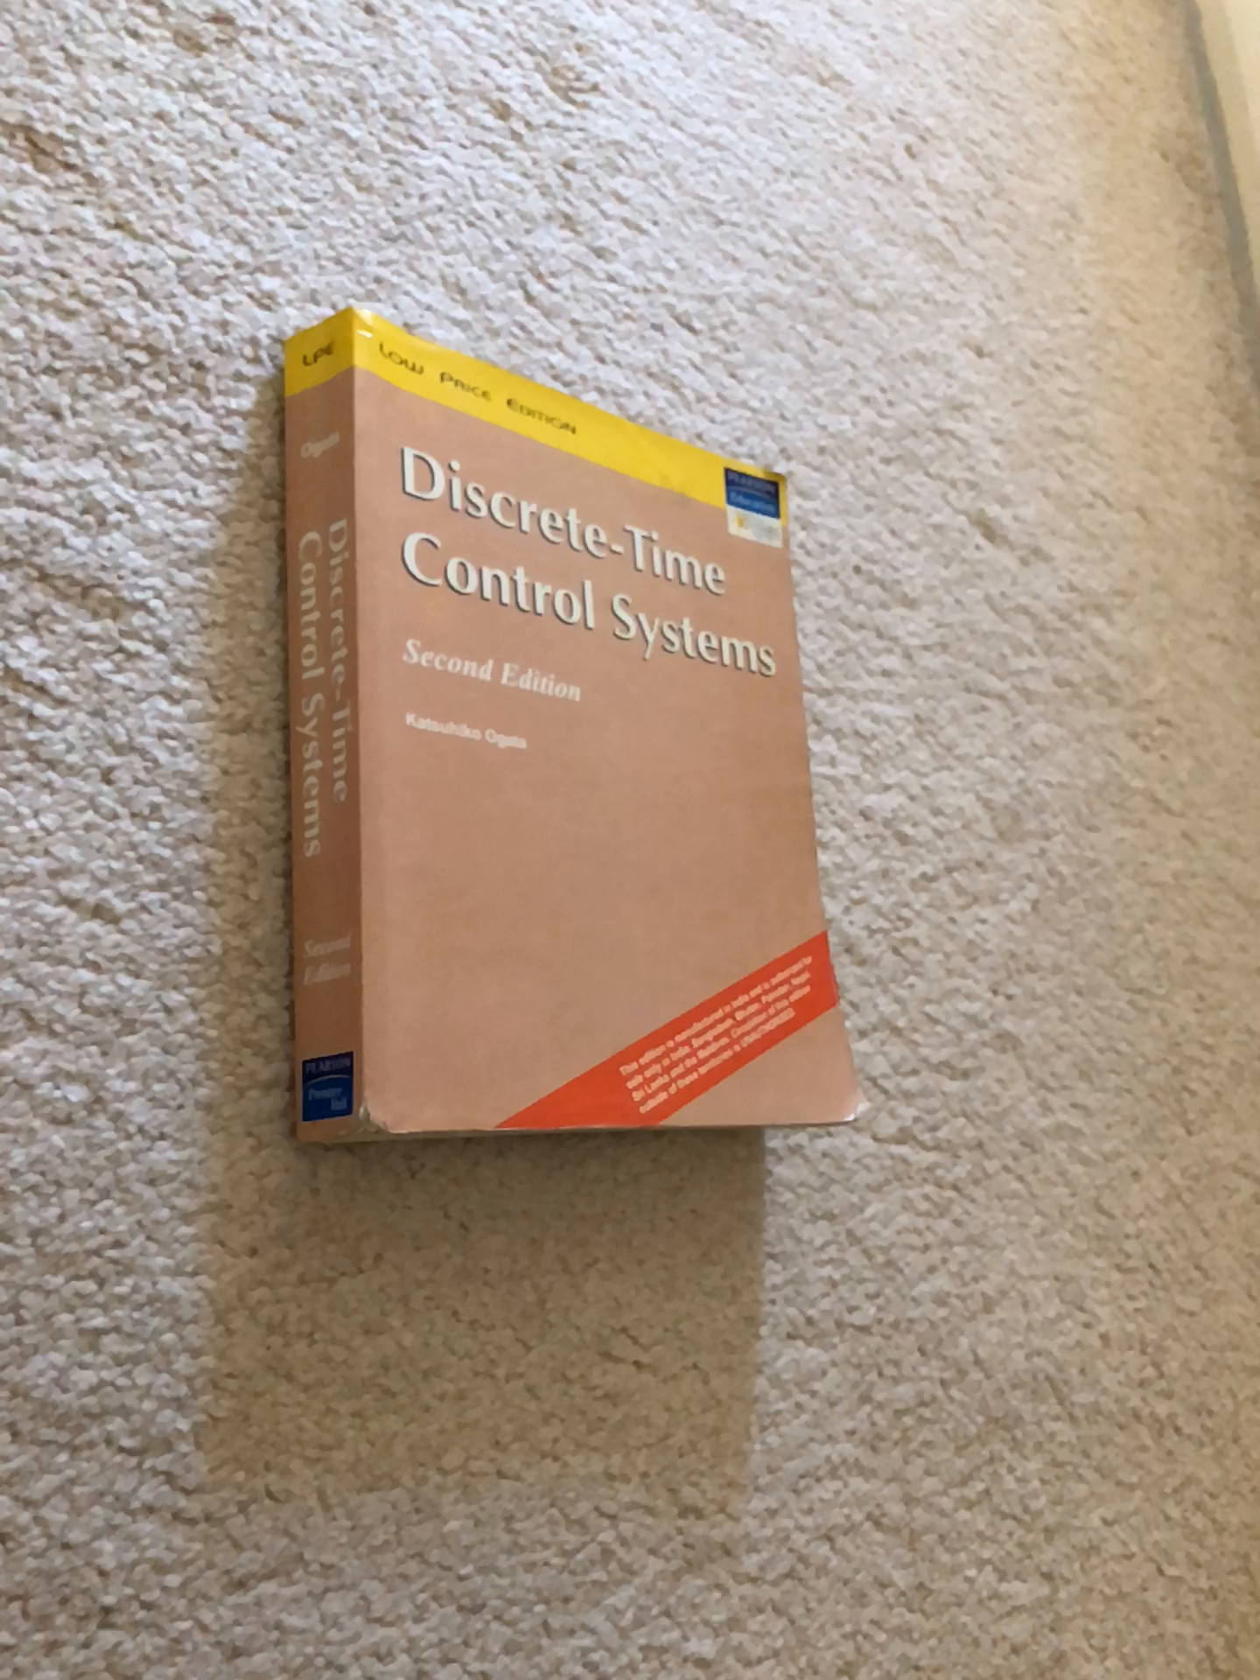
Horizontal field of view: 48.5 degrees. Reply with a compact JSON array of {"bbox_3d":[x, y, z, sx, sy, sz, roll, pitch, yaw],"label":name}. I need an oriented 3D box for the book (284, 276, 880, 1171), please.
[{"bbox_3d":[-0.011,-0.026,0.429,0.187,0.035,0.238,8,71,-41],"label":"book"}]
